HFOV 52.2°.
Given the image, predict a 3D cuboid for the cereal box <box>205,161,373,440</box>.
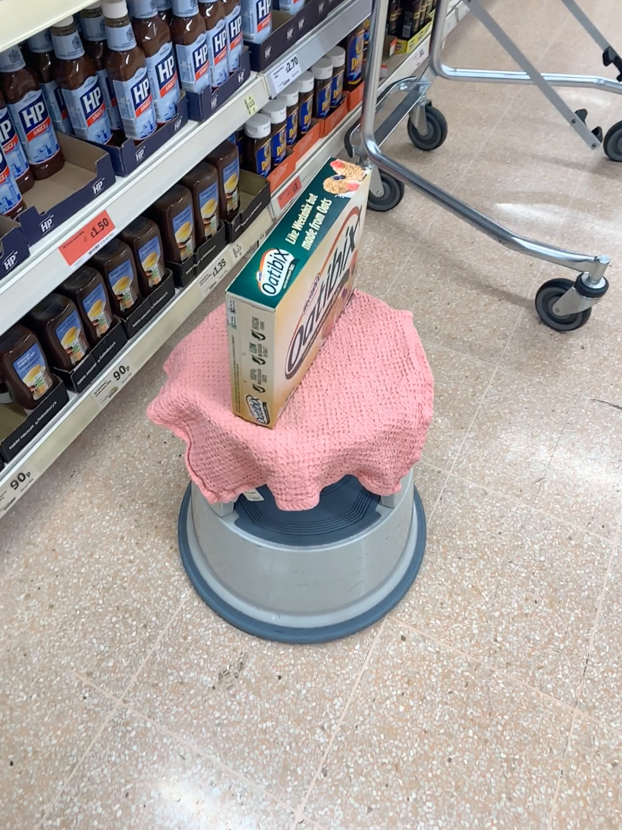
[{"bbox_3d":[-0.019,-0.135,0.738,0.060,0.188,0.272,22,55,12],"label":"cereal box"}]
